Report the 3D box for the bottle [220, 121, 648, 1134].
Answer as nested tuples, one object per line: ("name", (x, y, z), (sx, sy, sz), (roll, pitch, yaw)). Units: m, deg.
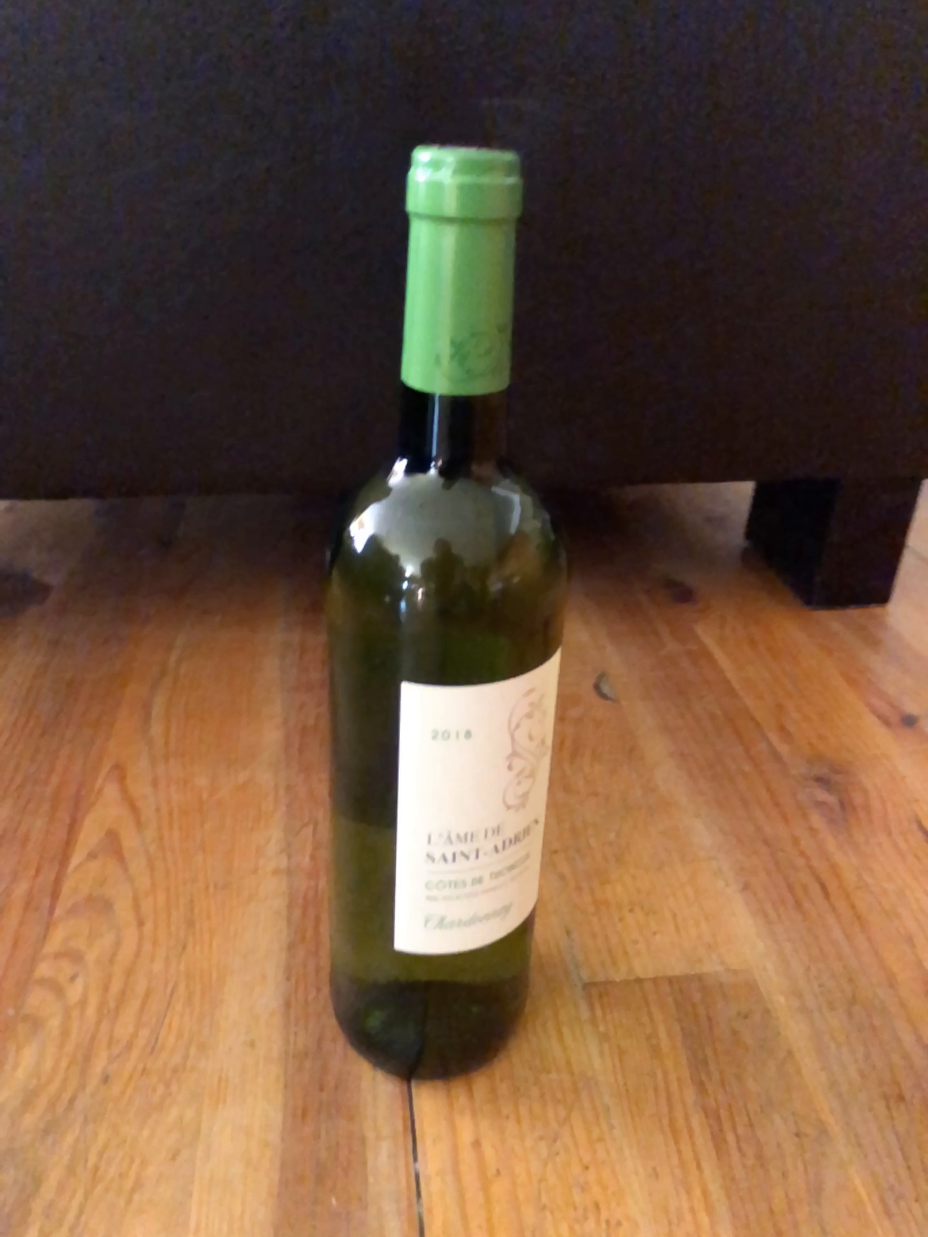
("bottle", (-0.015, 0.013, 0.318), (0.080, 0.298, 0.080), (1, 27, -1))
